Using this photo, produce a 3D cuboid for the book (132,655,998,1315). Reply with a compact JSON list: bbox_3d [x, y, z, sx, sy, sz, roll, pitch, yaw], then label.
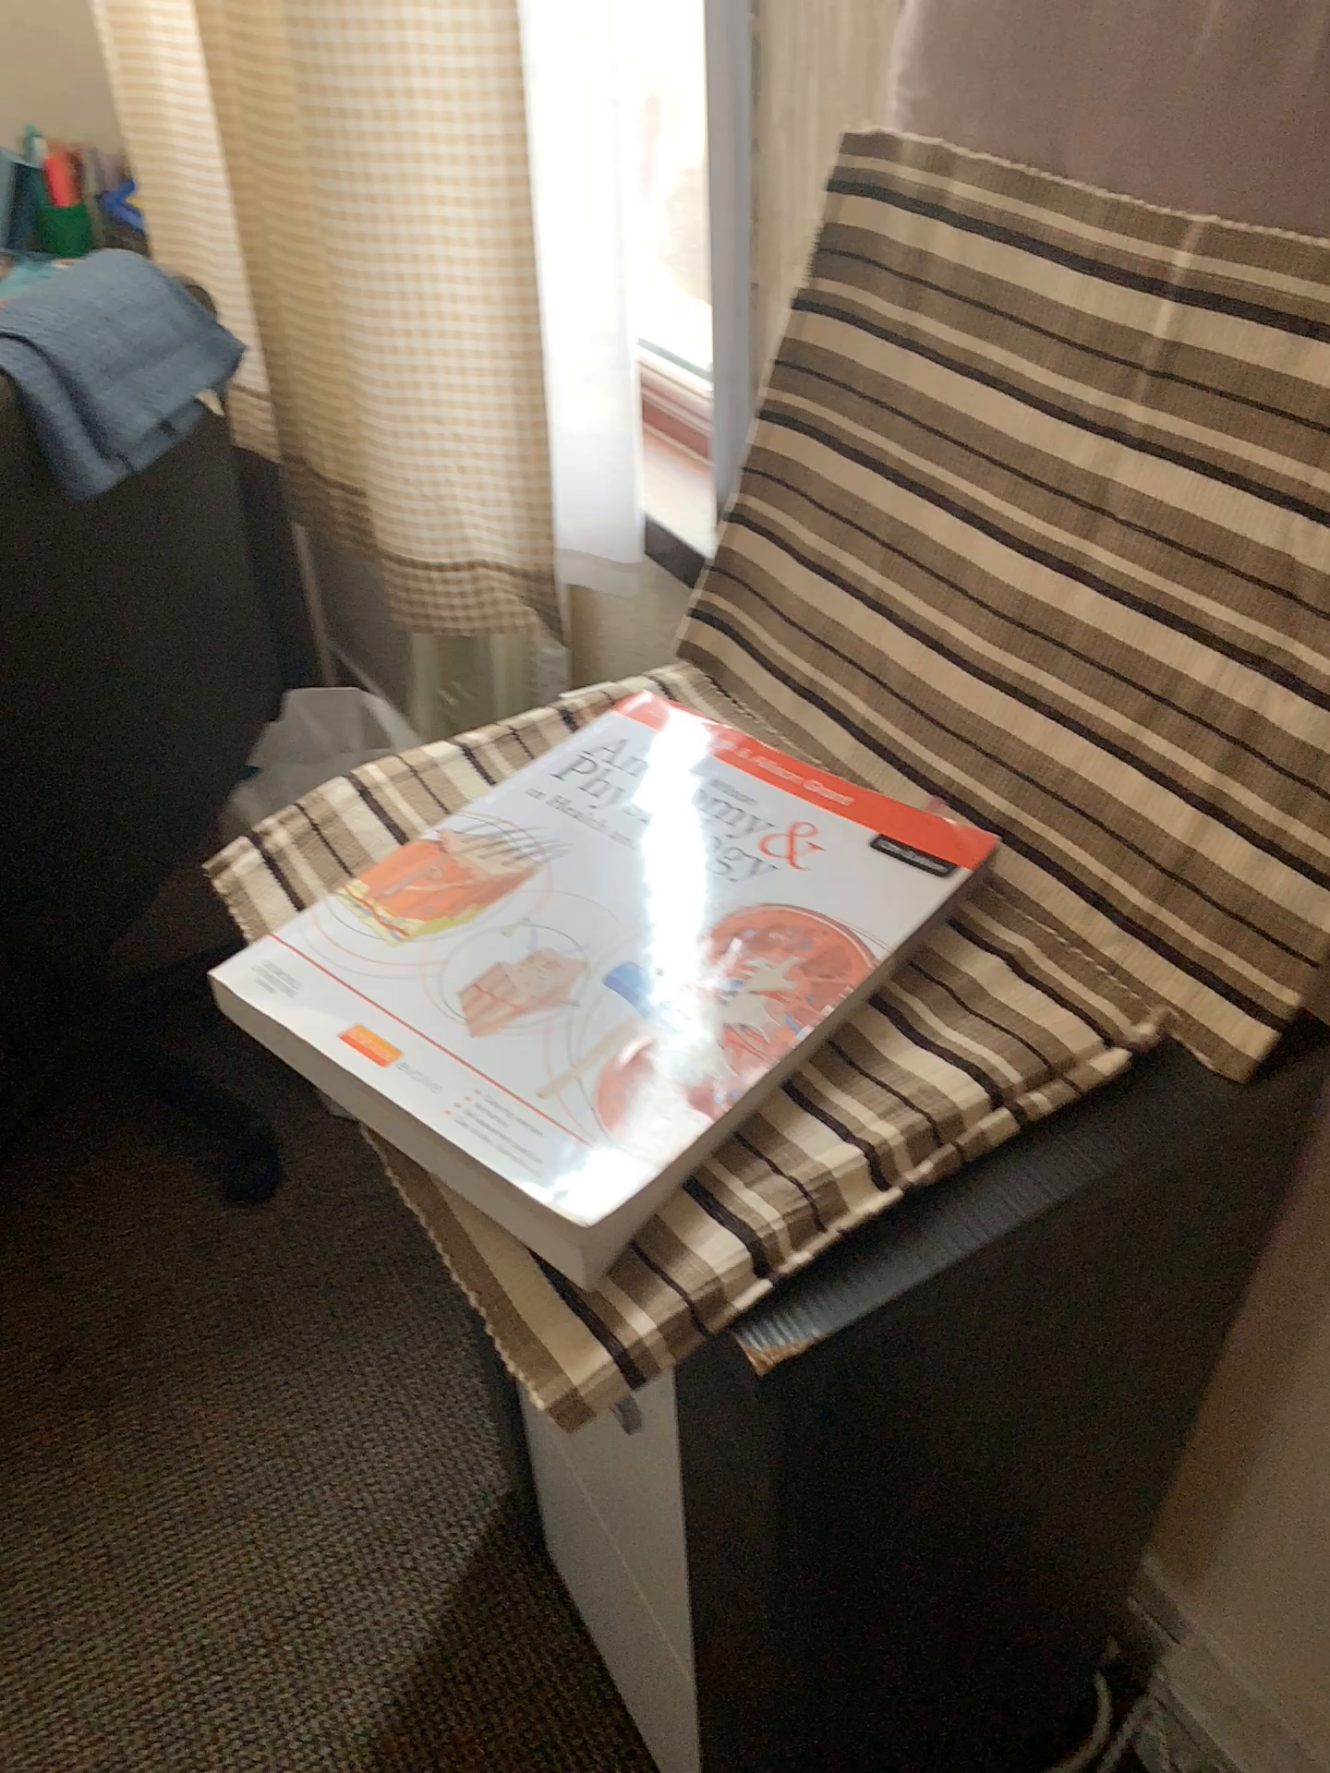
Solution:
[{"bbox_3d":[-0.035,0.010,0.587,0.241,0.040,0.282,26,47,31],"label":"book"}]
